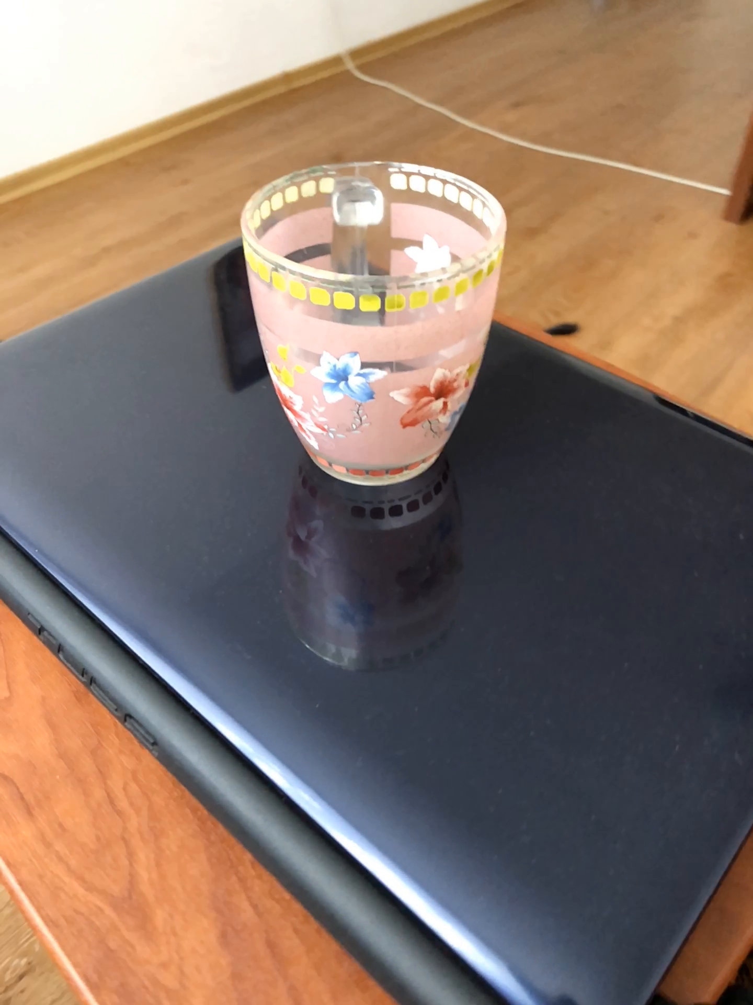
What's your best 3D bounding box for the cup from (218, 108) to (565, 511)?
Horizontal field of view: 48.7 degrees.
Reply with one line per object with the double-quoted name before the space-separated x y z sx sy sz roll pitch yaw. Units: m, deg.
"cup" -0.003 -0.077 0.307 0.095 0.081 0.131 -7 44 -6
